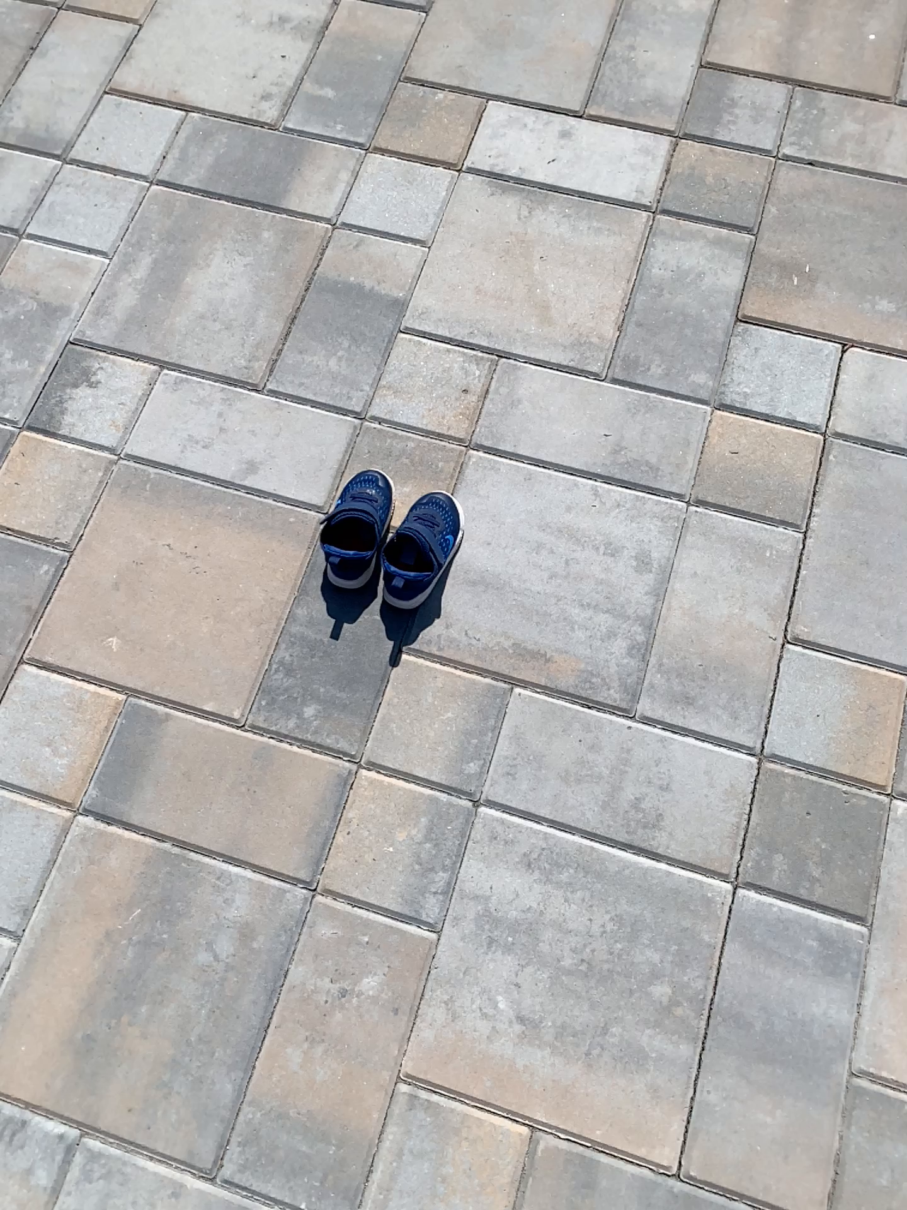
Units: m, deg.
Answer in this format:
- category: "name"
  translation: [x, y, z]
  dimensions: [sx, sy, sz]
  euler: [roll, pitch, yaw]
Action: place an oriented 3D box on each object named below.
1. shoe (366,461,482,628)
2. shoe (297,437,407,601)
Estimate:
- category: "shoe"
  translation: [-0.034, -0.076, 1.165]
  dimensions: [0.090, 0.090, 0.170]
  euler: [17, 72, 7]
- category: "shoe"
  translation: [-0.123, -0.106, 1.155]
  dimensions: [0.090, 0.090, 0.170]
  euler: [10, 71, 5]
